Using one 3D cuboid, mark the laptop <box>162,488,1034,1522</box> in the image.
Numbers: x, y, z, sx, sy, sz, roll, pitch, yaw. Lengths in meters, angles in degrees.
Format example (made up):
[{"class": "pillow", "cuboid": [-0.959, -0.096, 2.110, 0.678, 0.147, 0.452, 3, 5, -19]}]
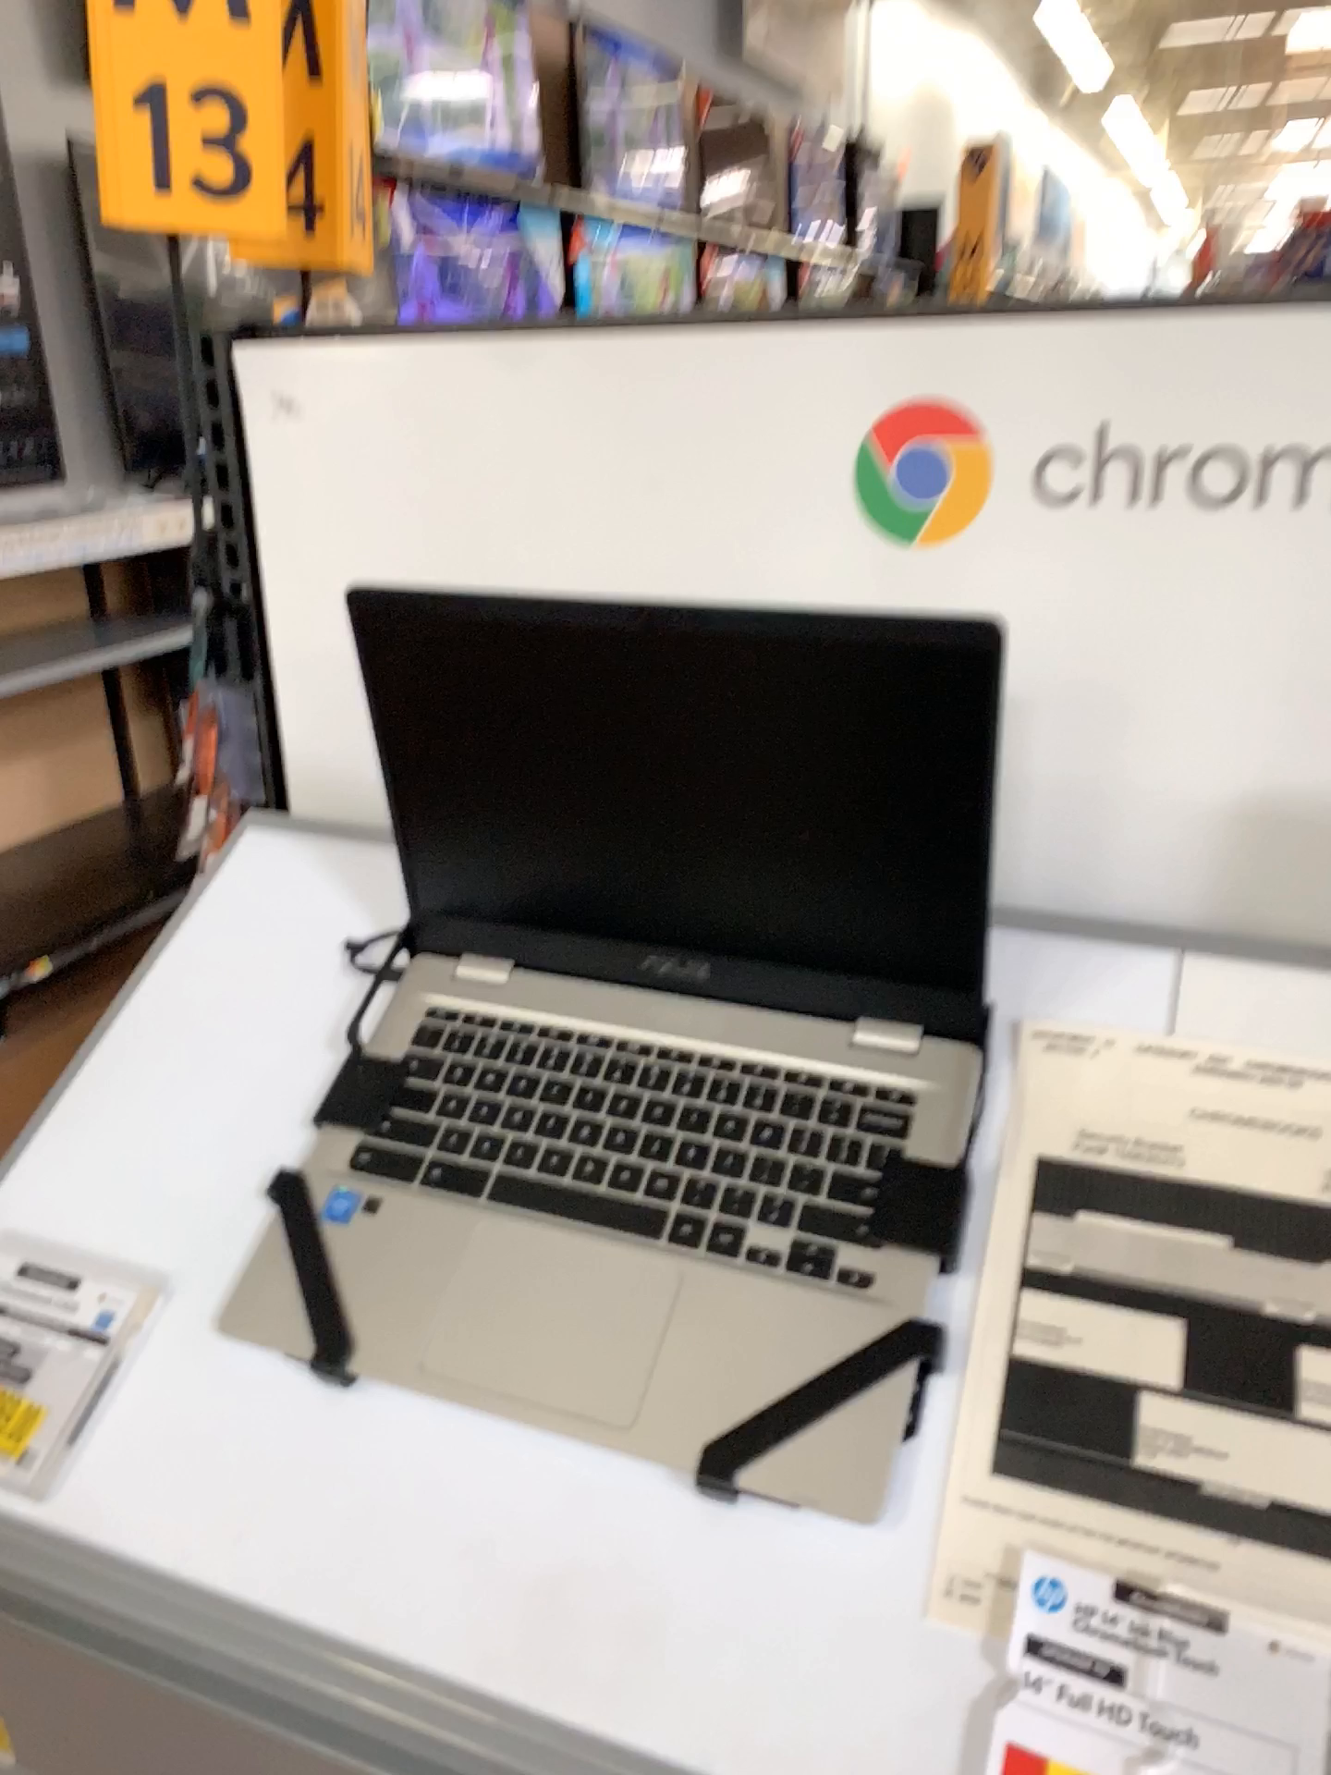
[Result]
[{"class": "laptop", "cuboid": [-0.017, 0.016, 0.623, 0.309, 0.196, 0.293, 8, 43, 20]}]
